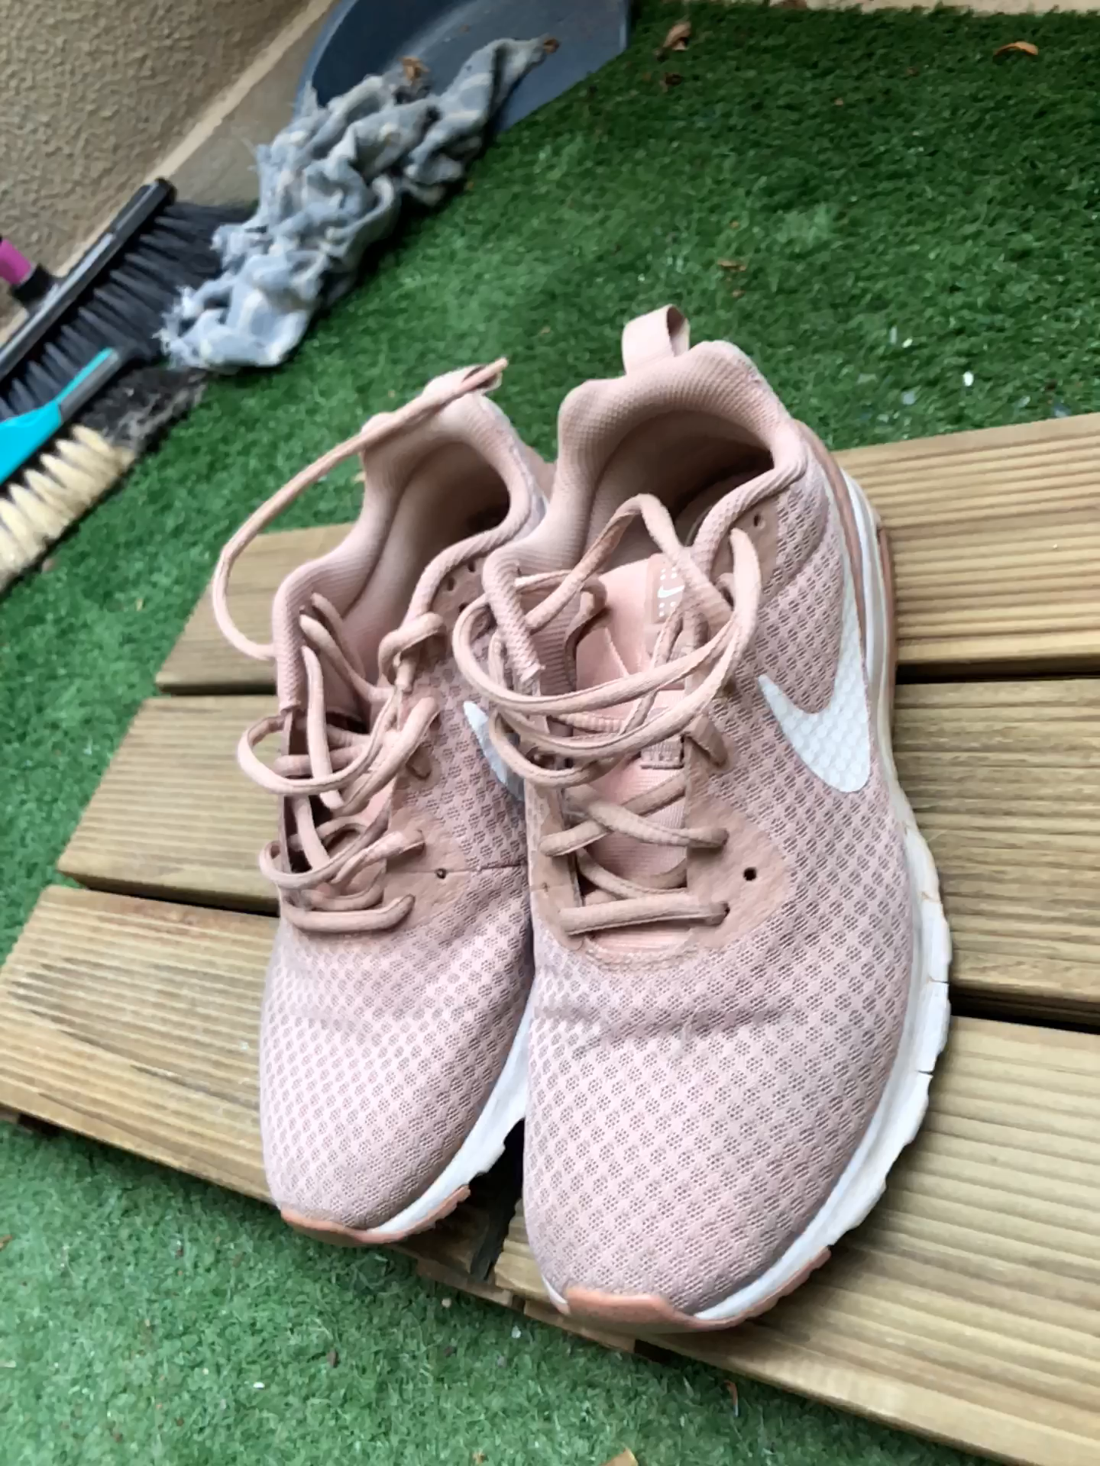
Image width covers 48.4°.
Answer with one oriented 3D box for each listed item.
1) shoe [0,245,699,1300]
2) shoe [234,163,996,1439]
[{"bbox_3d":[-0.047,0.002,0.345,0.110,0.089,0.261,-8,55,35],"label":"shoe"},{"bbox_3d":[0.035,0.004,0.290,0.110,0.089,0.261,-9,54,34],"label":"shoe"}]
